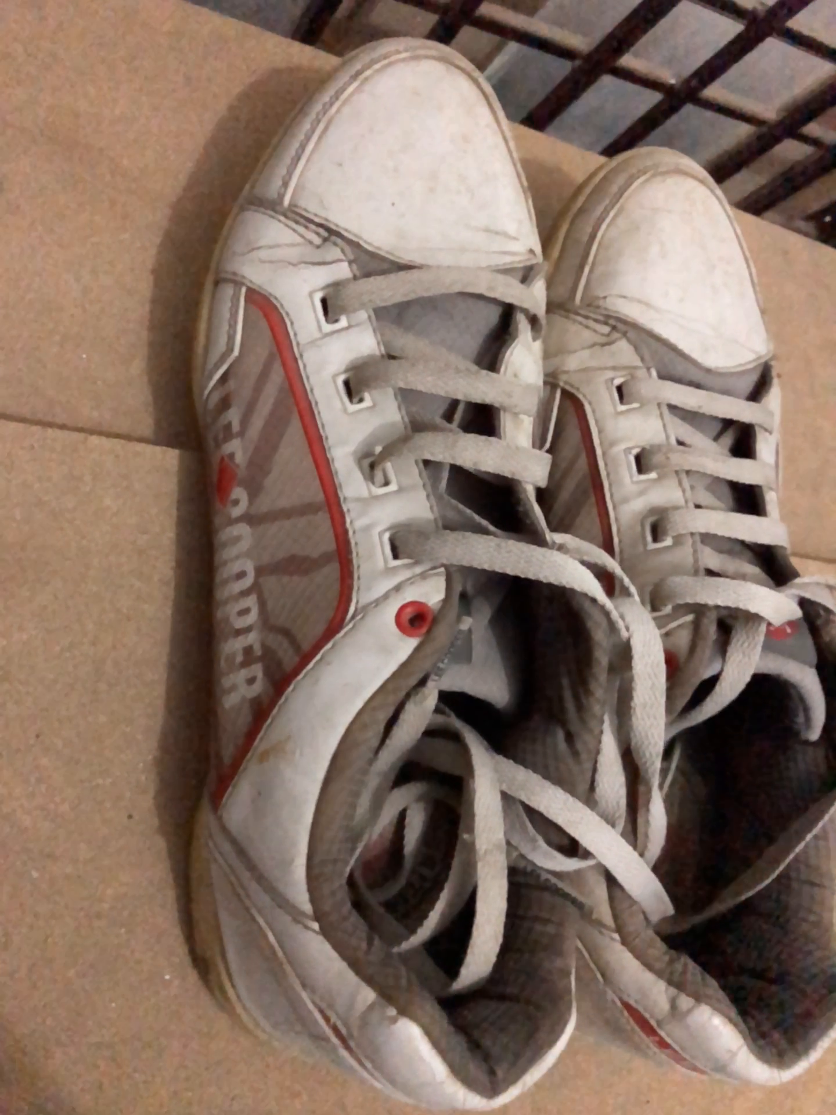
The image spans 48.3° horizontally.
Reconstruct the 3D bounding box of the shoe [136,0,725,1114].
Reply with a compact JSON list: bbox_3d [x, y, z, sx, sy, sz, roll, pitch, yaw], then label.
[{"bbox_3d":[0.000,-0.013,0.232,0.100,0.080,0.270,8,74,-29],"label":"shoe"}]

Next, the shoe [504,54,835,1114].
[{"bbox_3d":[0.093,0.006,0.284,0.100,0.080,0.270,8,74,-29],"label":"shoe"}]
